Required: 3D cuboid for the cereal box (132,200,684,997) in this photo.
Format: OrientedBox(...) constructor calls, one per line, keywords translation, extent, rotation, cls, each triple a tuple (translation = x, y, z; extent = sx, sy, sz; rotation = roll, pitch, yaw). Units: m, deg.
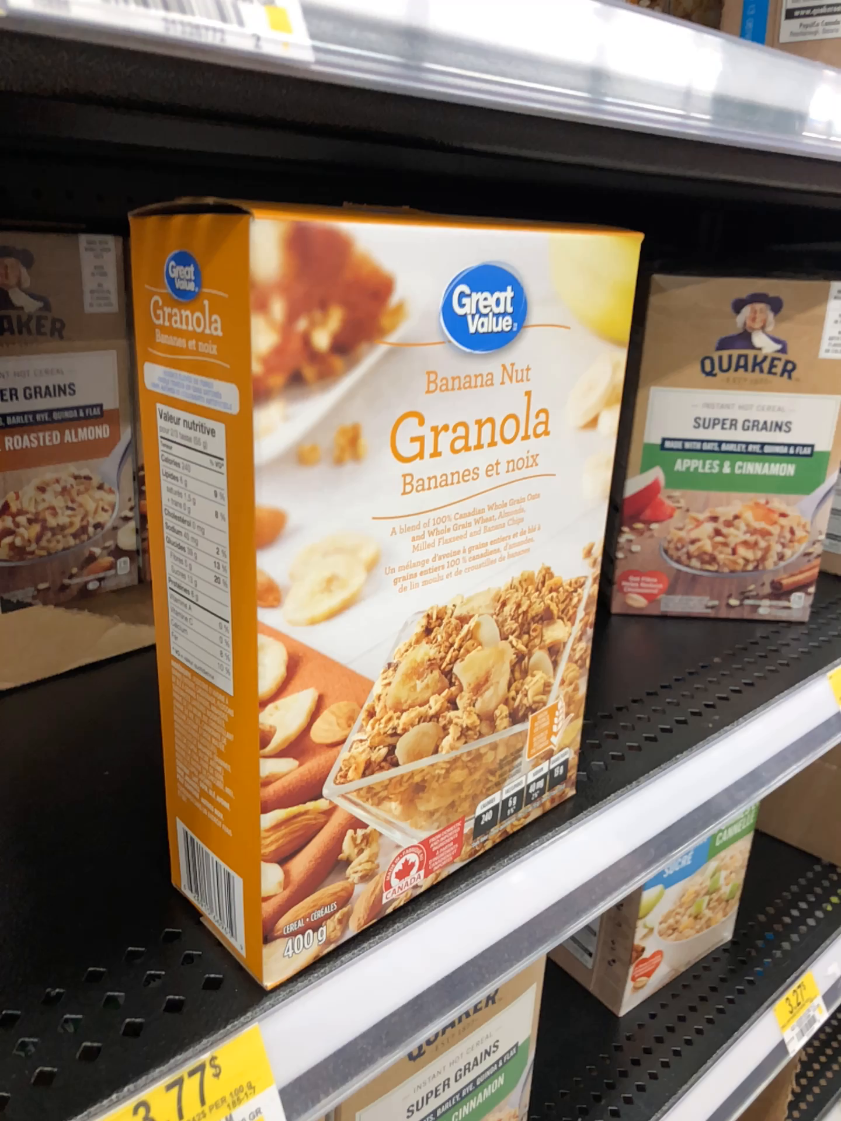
OrientedBox(translation=(0.001, 0.000, 0.302), extent=(0.161, 0.209, 0.060), rotation=(-16, 28, -42), cls="cereal box")
